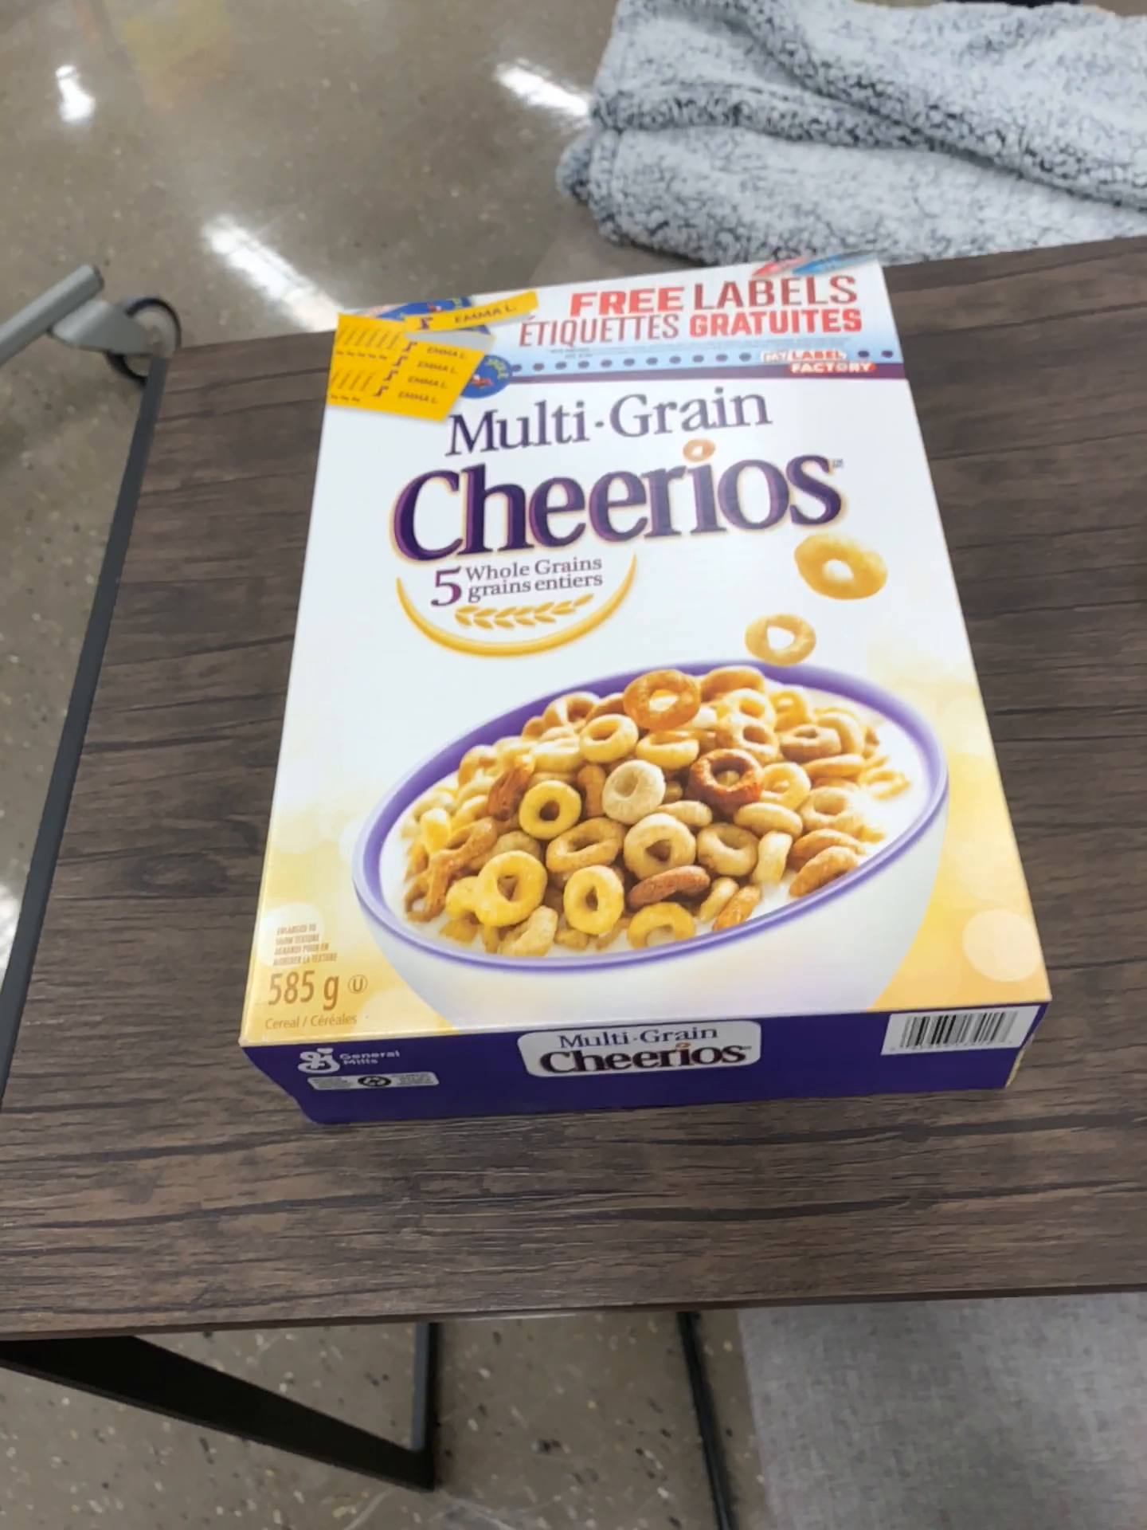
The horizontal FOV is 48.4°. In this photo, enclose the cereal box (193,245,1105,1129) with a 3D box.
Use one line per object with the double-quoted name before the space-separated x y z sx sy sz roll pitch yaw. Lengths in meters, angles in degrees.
"cereal box" 0.020 -0.049 0.475 0.250 0.070 0.341 -4 55 6
